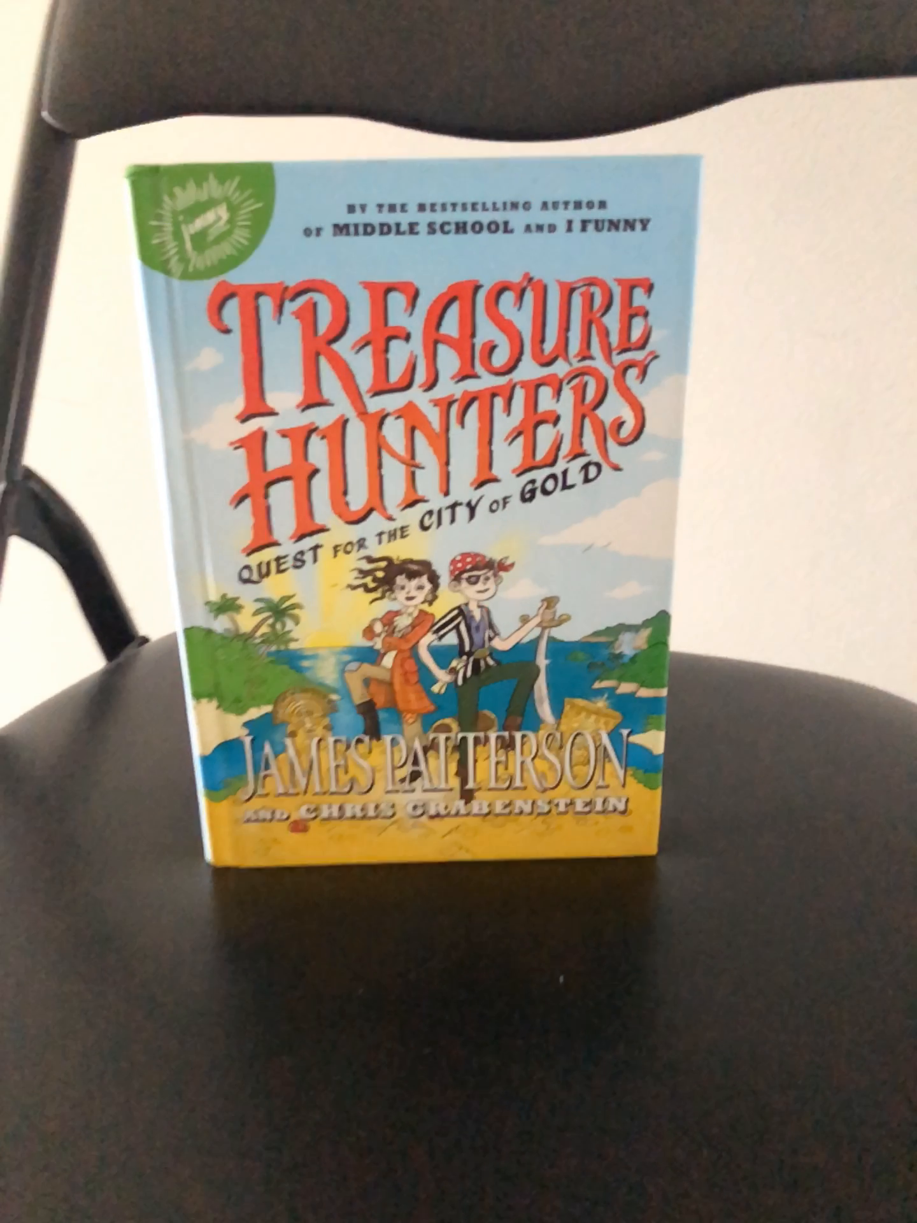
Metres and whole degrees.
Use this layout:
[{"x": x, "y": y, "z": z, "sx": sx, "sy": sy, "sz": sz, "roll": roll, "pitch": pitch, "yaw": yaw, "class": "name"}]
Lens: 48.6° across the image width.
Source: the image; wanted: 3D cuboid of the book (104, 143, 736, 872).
[{"x": -0.006, "y": -0.022, "z": 0.311, "sx": 0.154, "sy": 0.215, "sz": 0.040, "roll": -2, "pitch": 24, "yaw": 0, "class": "book"}]
